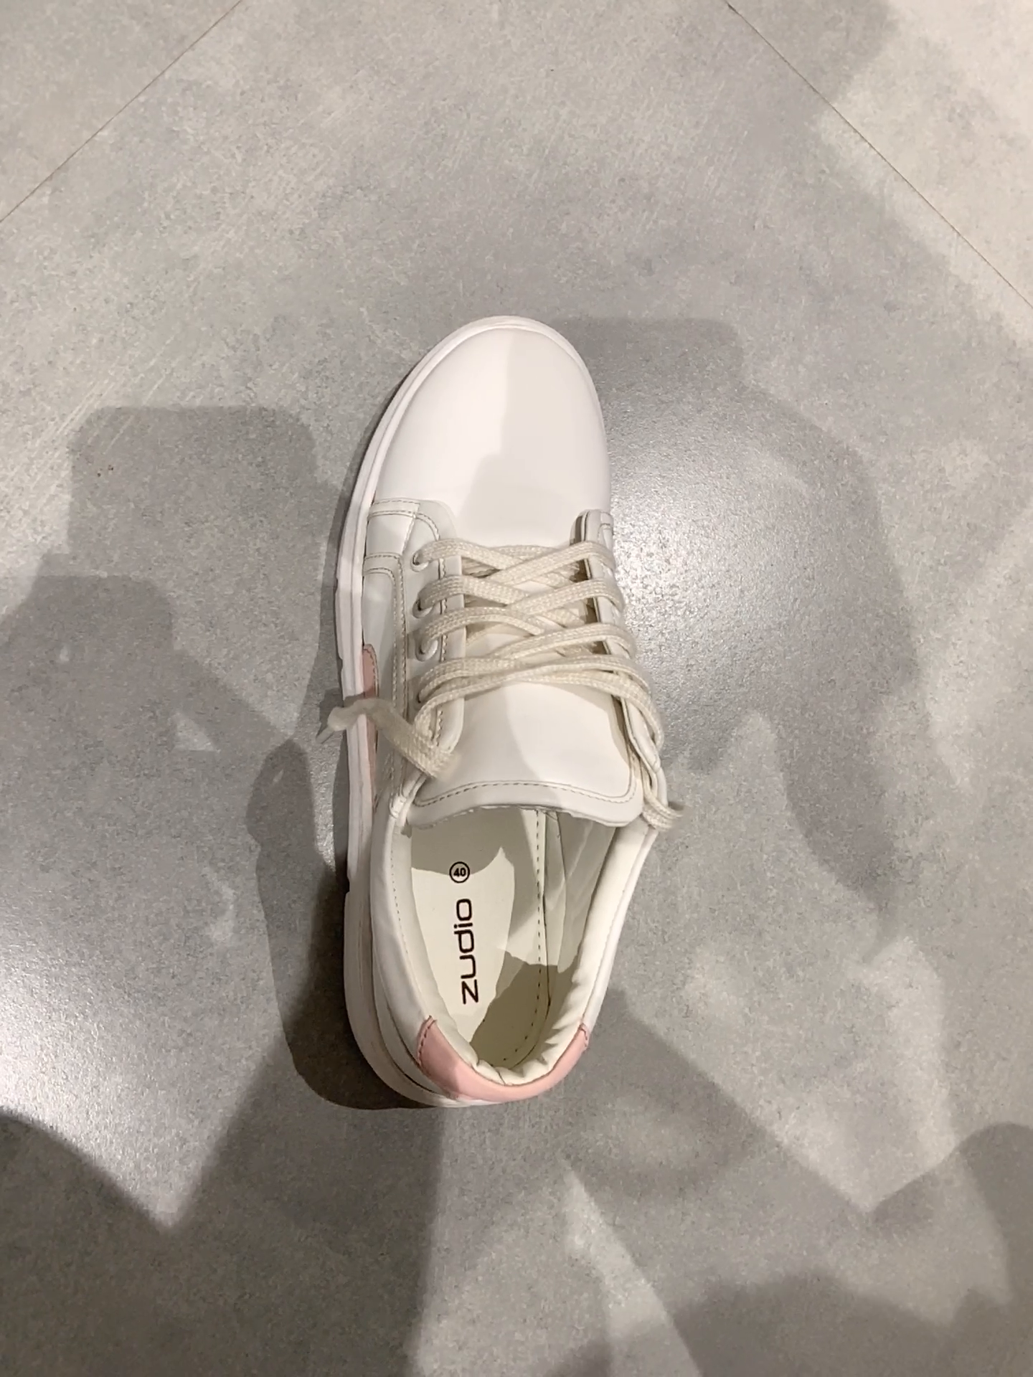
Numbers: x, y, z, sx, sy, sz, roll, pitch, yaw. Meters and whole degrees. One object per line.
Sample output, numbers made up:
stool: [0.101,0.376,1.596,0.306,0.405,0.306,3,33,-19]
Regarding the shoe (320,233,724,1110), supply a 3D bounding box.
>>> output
shoe: [-0.002,-0.002,0.359,0.110,0.100,0.250,3,82,-13]
